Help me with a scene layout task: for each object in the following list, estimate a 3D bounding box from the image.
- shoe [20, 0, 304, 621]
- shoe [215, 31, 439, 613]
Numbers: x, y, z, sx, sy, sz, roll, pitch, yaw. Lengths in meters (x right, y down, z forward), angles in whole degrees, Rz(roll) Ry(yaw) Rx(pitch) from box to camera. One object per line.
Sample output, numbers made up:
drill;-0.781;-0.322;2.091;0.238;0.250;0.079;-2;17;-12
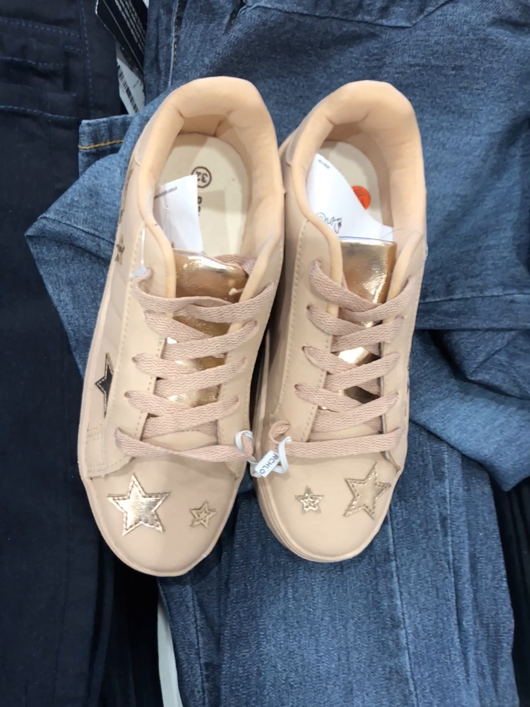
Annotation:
shoe;-0.045;-0.018;0.288;0.090;0.090;0.250;6;88;-5
shoe;0.022;-0.015;0.301;0.090;0.090;0.250;0;83;-7
